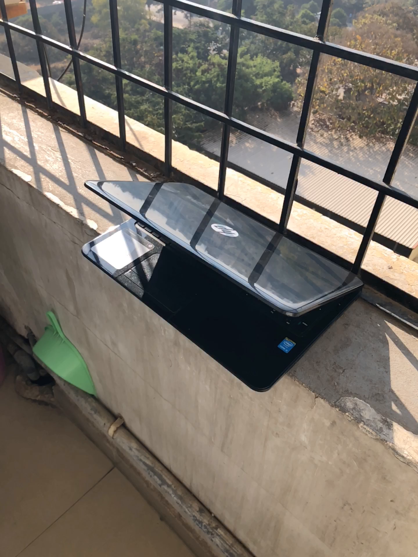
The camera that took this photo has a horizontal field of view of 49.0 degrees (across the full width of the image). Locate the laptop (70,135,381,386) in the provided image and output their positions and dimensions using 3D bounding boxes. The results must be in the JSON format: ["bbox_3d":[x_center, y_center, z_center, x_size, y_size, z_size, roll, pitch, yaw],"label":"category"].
[{"bbox_3d":[0.015,-0.060,0.670,0.364,0.113,0.245,34,49,29],"label":"laptop"}]
